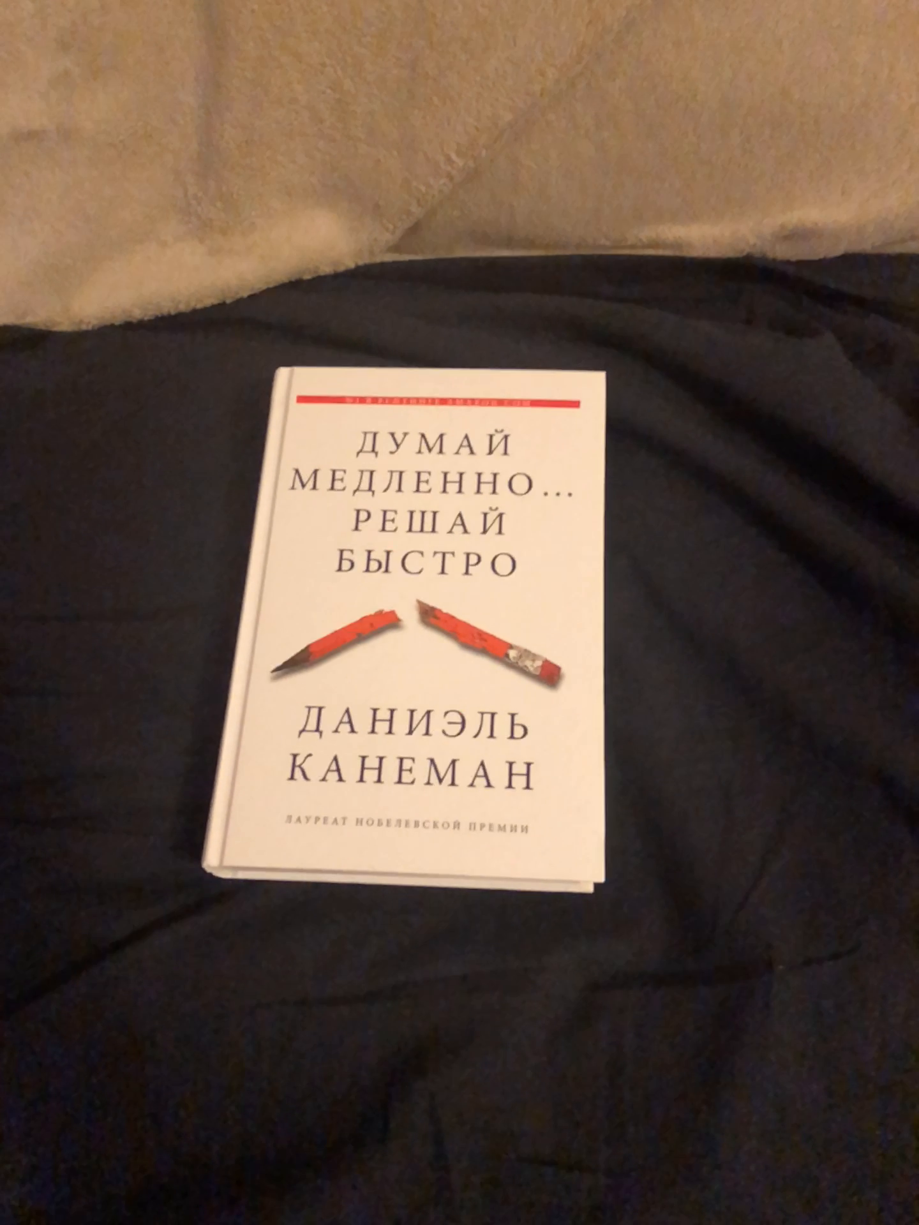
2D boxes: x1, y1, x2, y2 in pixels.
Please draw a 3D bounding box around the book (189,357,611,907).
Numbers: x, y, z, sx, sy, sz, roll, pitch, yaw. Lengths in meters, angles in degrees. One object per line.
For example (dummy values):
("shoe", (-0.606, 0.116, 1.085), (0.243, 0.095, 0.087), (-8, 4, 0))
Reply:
("book", (-0.014, 0.002, 0.419), (0.149, 0.050, 0.220), (2, 68, 5))
